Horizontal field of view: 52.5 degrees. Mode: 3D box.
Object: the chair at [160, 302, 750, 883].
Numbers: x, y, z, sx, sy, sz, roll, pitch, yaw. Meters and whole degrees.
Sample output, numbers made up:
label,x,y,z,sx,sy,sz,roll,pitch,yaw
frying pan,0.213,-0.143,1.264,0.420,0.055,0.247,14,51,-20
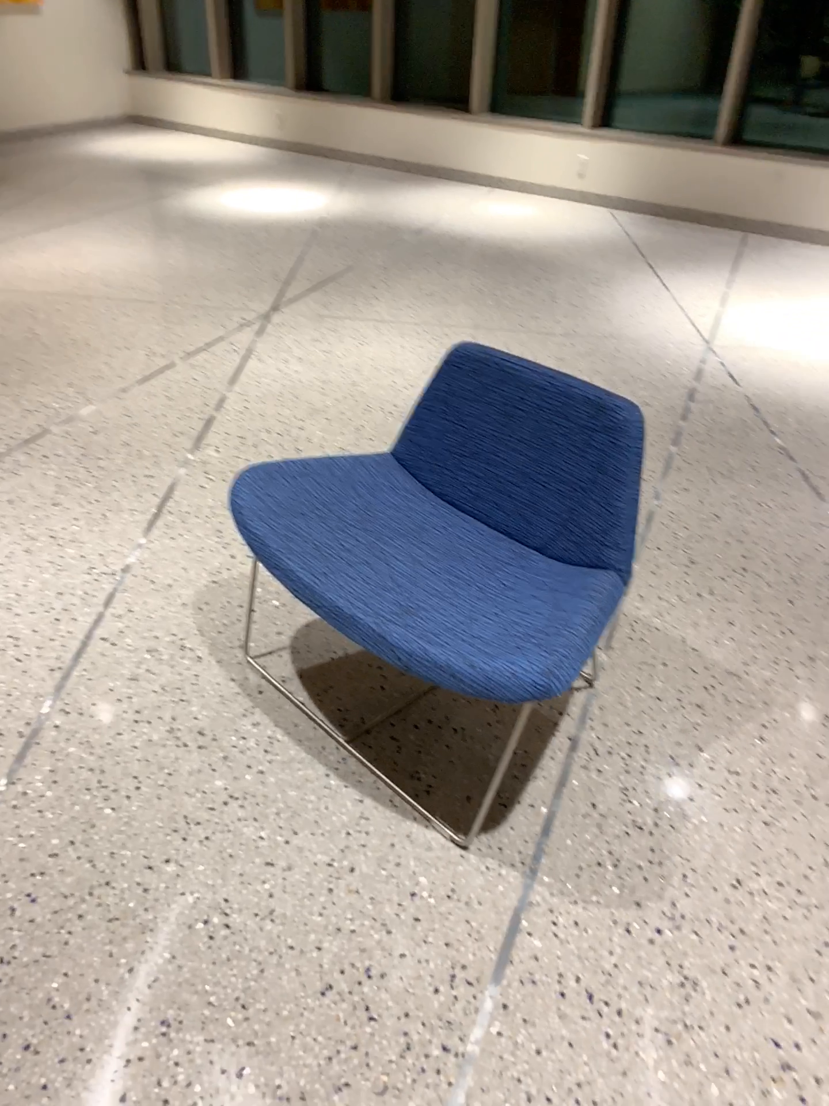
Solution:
label,x,y,z,sx,sy,sz,roll,pitch,yaw
chair,0.036,-0.015,1.805,0.664,0.698,0.946,-26,42,-36
